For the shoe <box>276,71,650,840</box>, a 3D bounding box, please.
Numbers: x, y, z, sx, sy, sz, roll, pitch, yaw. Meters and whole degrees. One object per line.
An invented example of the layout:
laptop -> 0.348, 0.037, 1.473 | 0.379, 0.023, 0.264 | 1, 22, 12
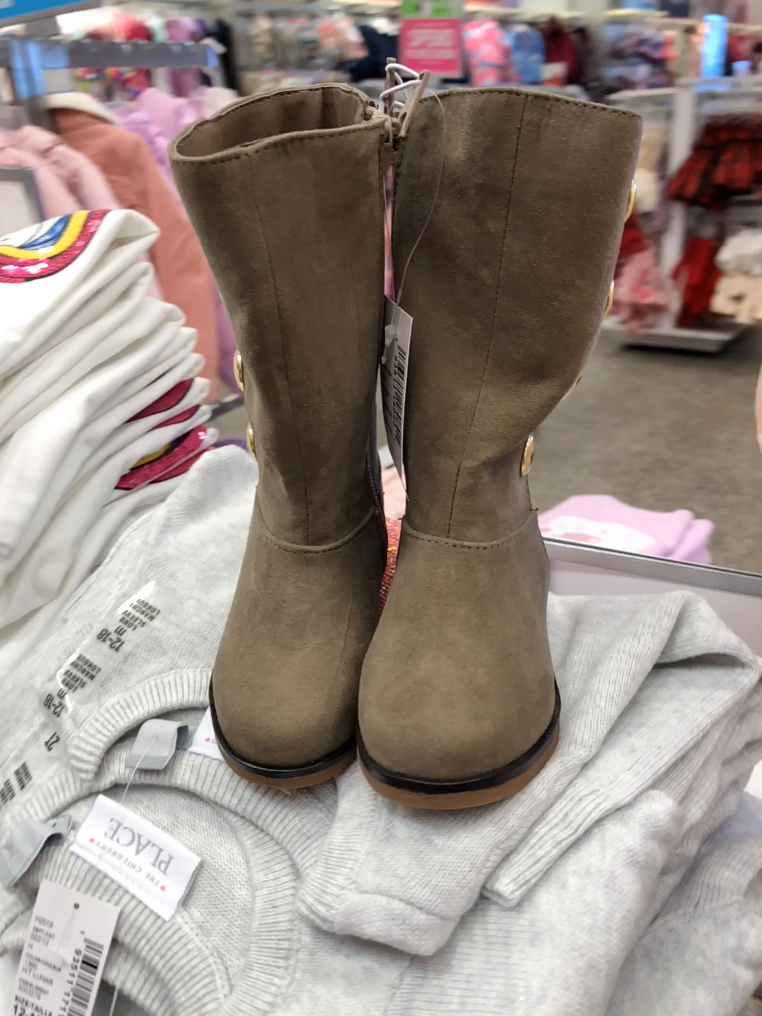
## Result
shoe -> 0.032, -0.027, 0.262 | 0.070, 0.184, 0.148 | 2, 25, 11

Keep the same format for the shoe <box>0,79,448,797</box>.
shoe -> -0.026, -0.029, 0.269 | 0.070, 0.164, 0.156 | 3, 36, 12
